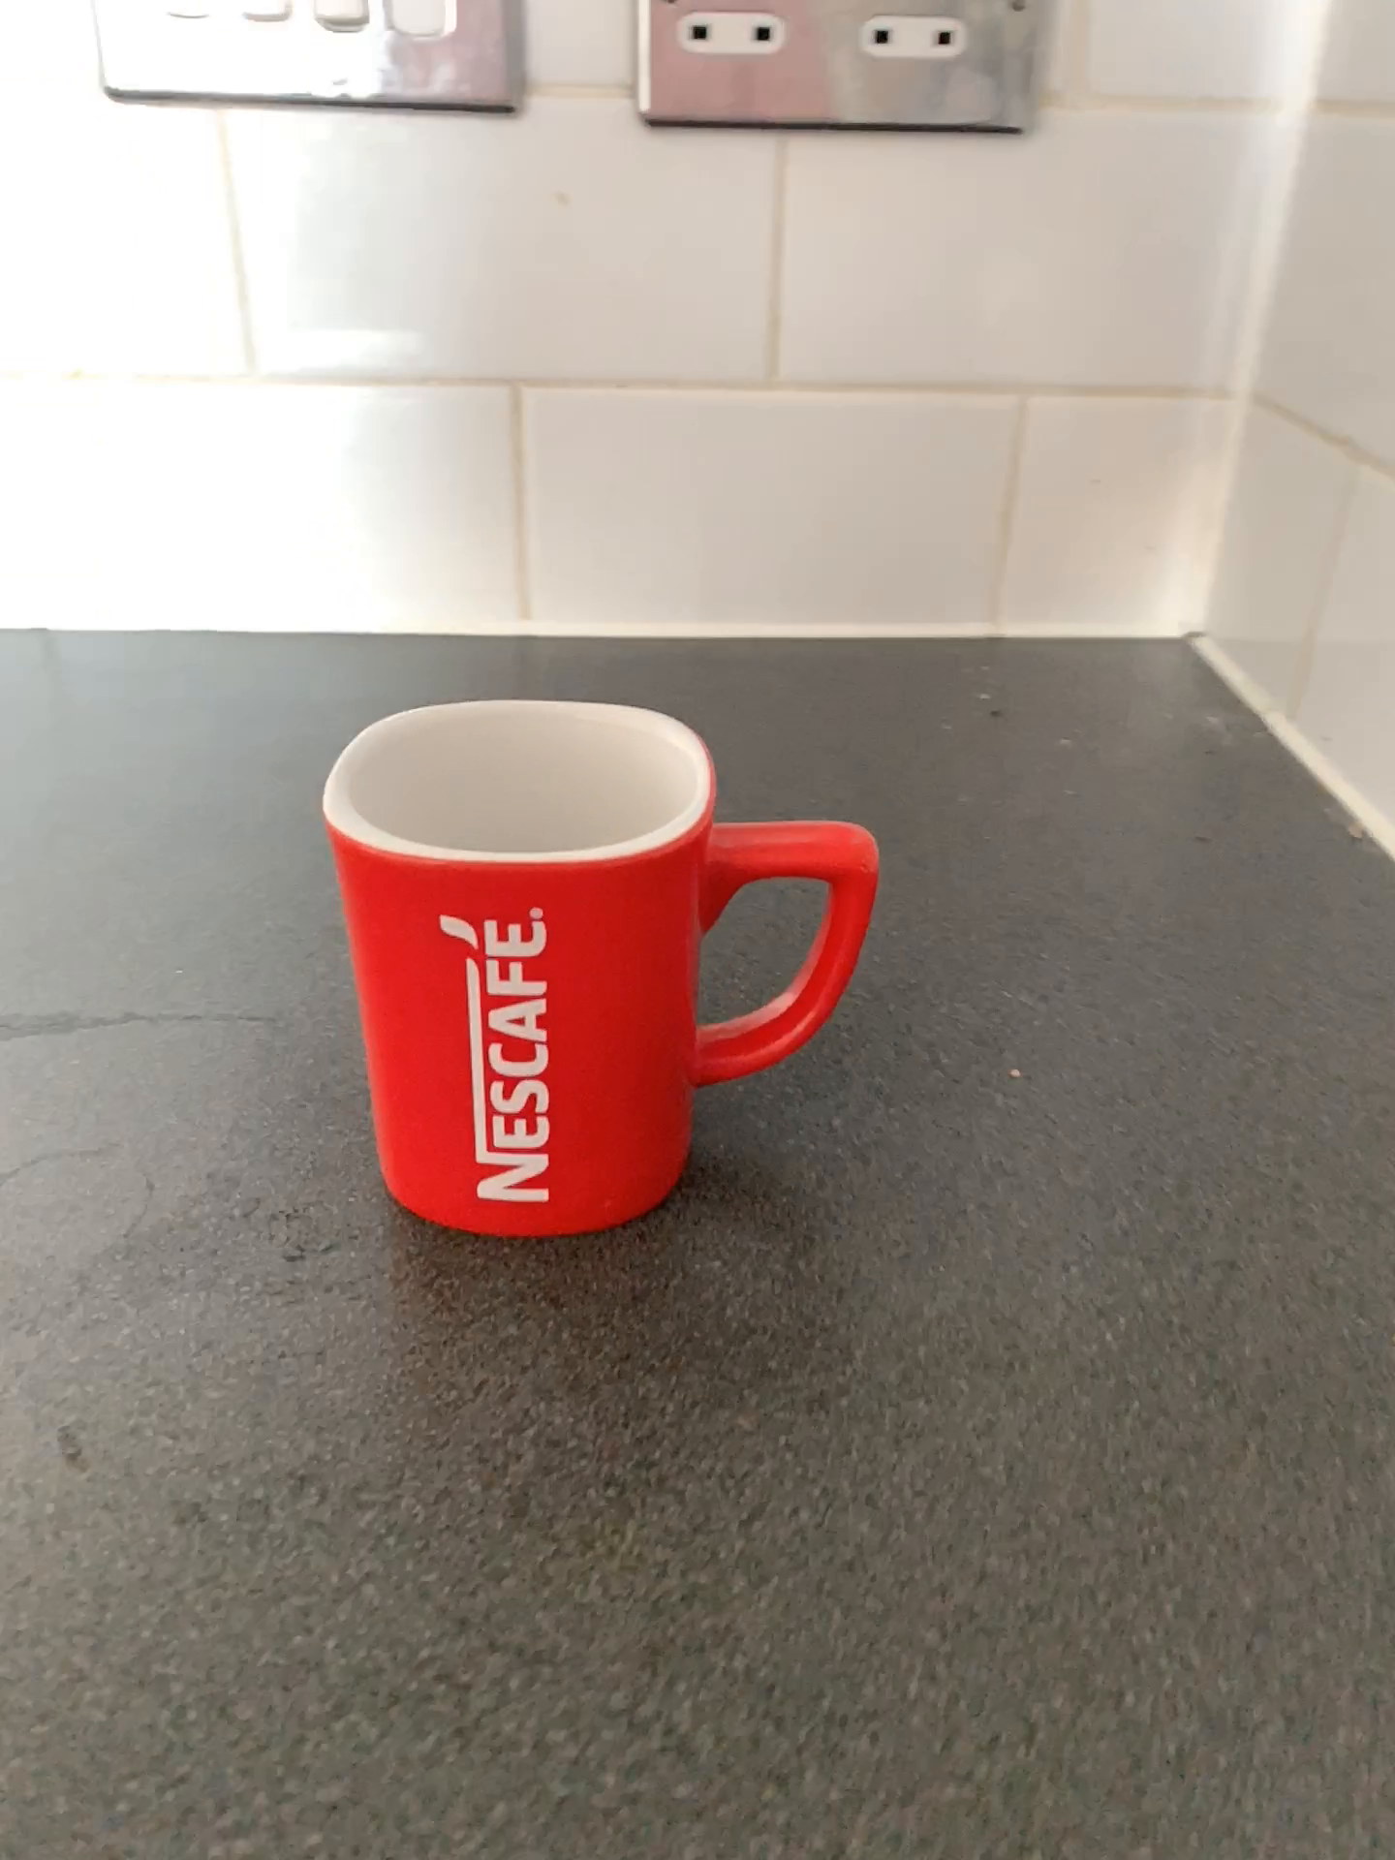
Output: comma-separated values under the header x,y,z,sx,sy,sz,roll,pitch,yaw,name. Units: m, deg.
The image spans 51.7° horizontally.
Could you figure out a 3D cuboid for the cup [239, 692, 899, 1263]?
x,y,z,sx,sy,sz,roll,pitch,yaw,name
-0.022,0.008,0.296,0.112,0.091,0.068,2,30,0,cup
